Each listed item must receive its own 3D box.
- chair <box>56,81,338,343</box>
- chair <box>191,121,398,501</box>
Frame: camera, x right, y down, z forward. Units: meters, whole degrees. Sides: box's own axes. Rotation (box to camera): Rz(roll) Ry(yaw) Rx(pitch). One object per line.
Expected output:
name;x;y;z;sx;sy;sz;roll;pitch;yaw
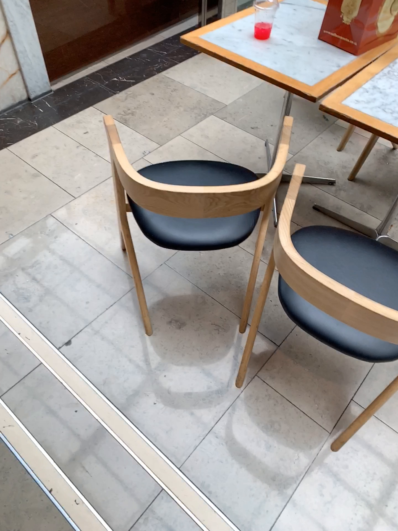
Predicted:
chair;-0.023;-0.146;1.350;0.643;0.708;0.503;-1;51;-3
chair;0.393;0.141;1.138;0.635;0.718;0.532;29;55;20
